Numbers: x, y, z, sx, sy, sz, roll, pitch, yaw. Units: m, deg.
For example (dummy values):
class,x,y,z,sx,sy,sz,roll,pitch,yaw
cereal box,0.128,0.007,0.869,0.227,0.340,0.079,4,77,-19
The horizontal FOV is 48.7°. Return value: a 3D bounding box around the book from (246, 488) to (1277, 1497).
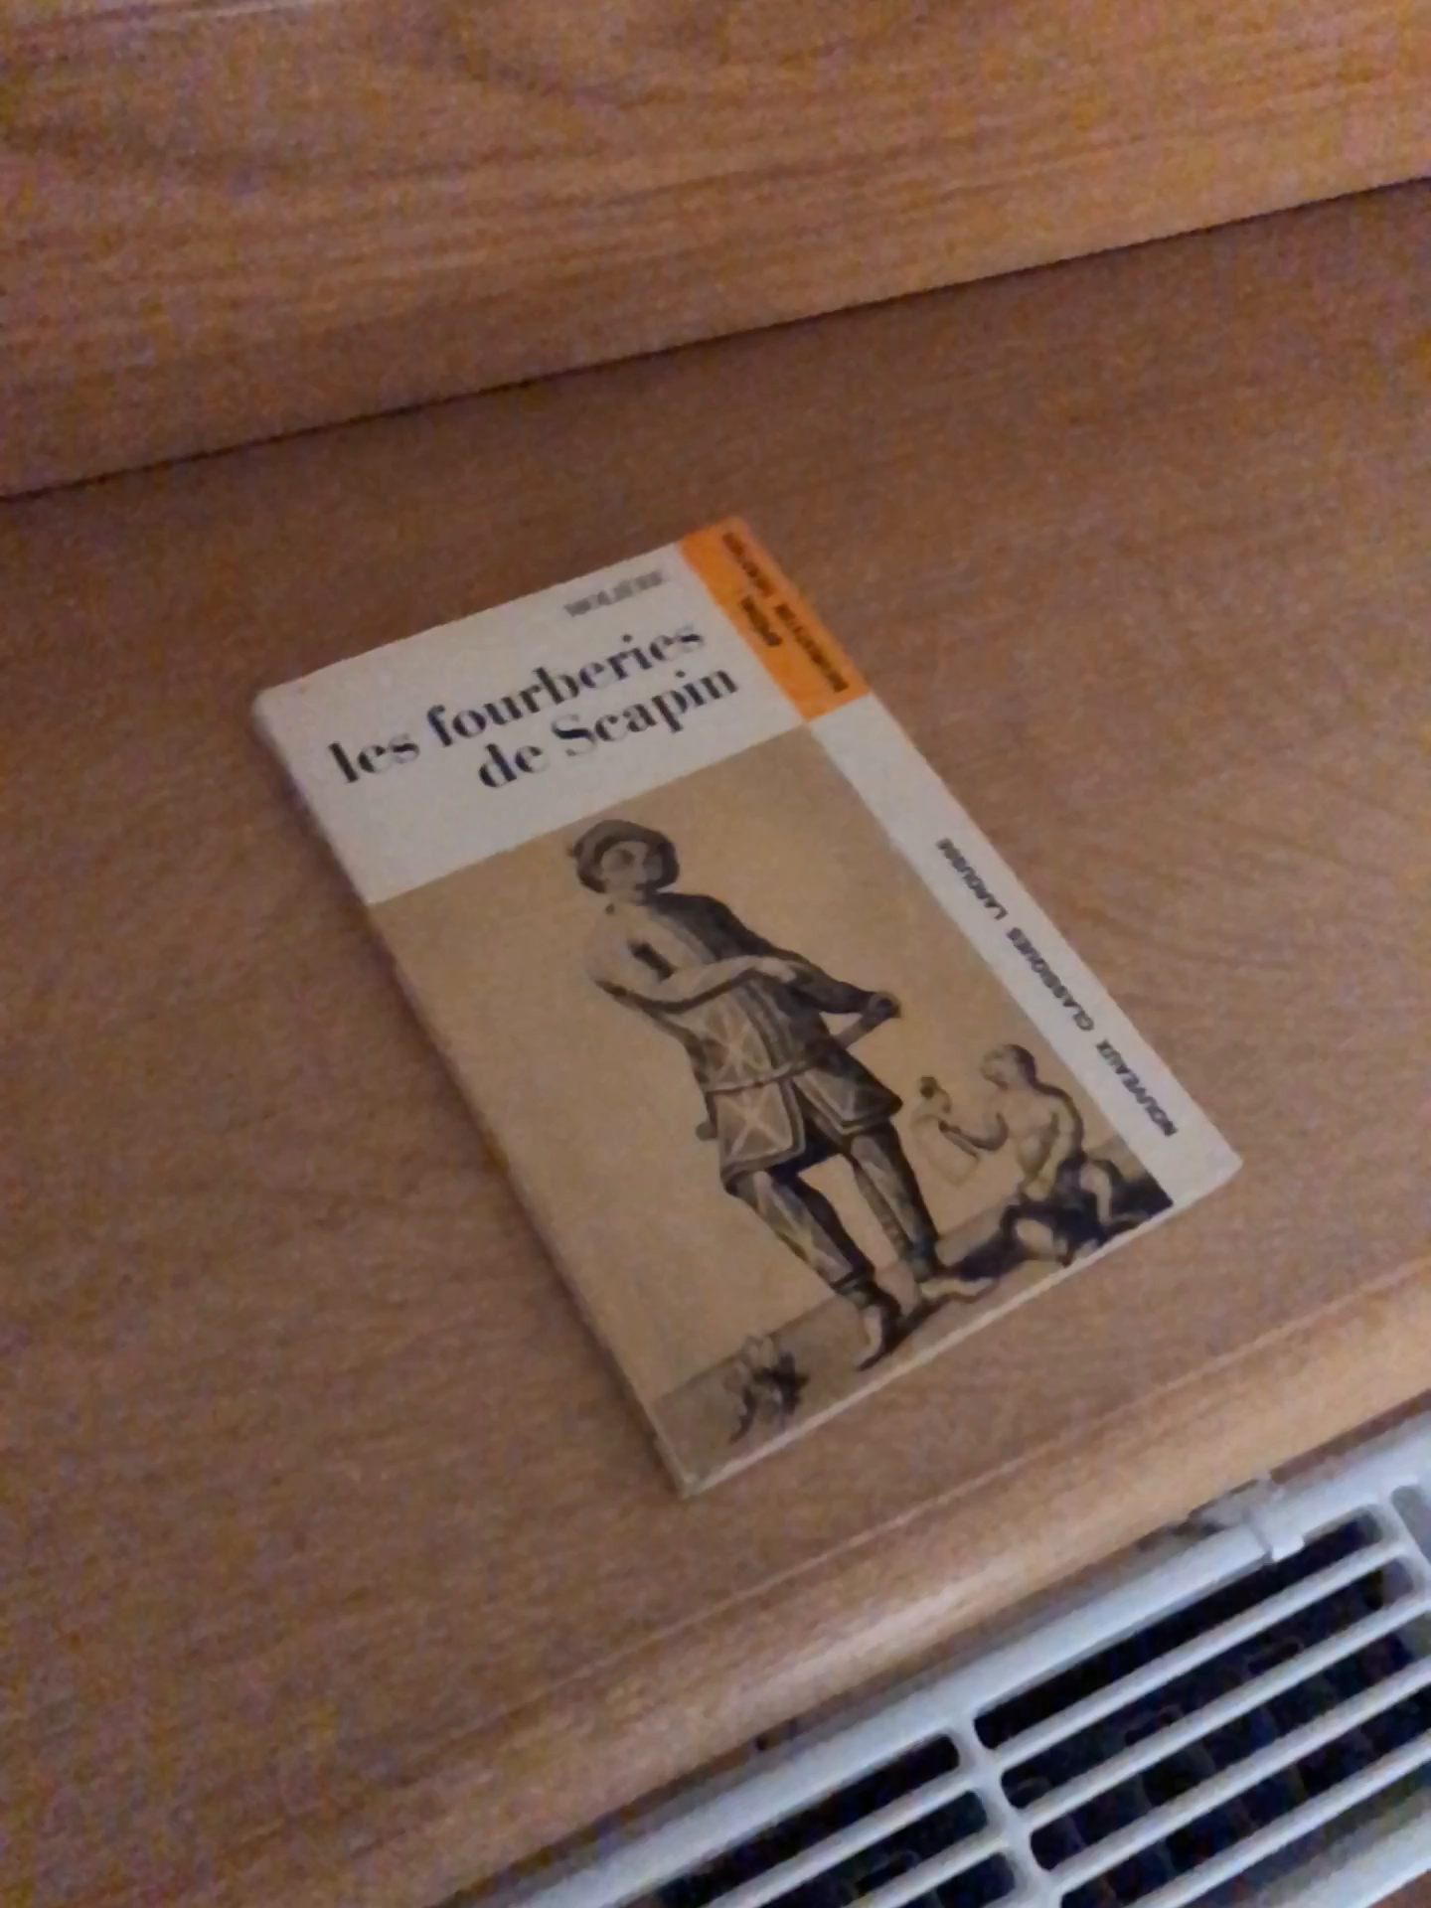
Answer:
class,x,y,z,sx,sy,sz,roll,pitch,yaw
book,0.003,-0.008,0.297,0.117,0.015,0.174,-25,65,-20
